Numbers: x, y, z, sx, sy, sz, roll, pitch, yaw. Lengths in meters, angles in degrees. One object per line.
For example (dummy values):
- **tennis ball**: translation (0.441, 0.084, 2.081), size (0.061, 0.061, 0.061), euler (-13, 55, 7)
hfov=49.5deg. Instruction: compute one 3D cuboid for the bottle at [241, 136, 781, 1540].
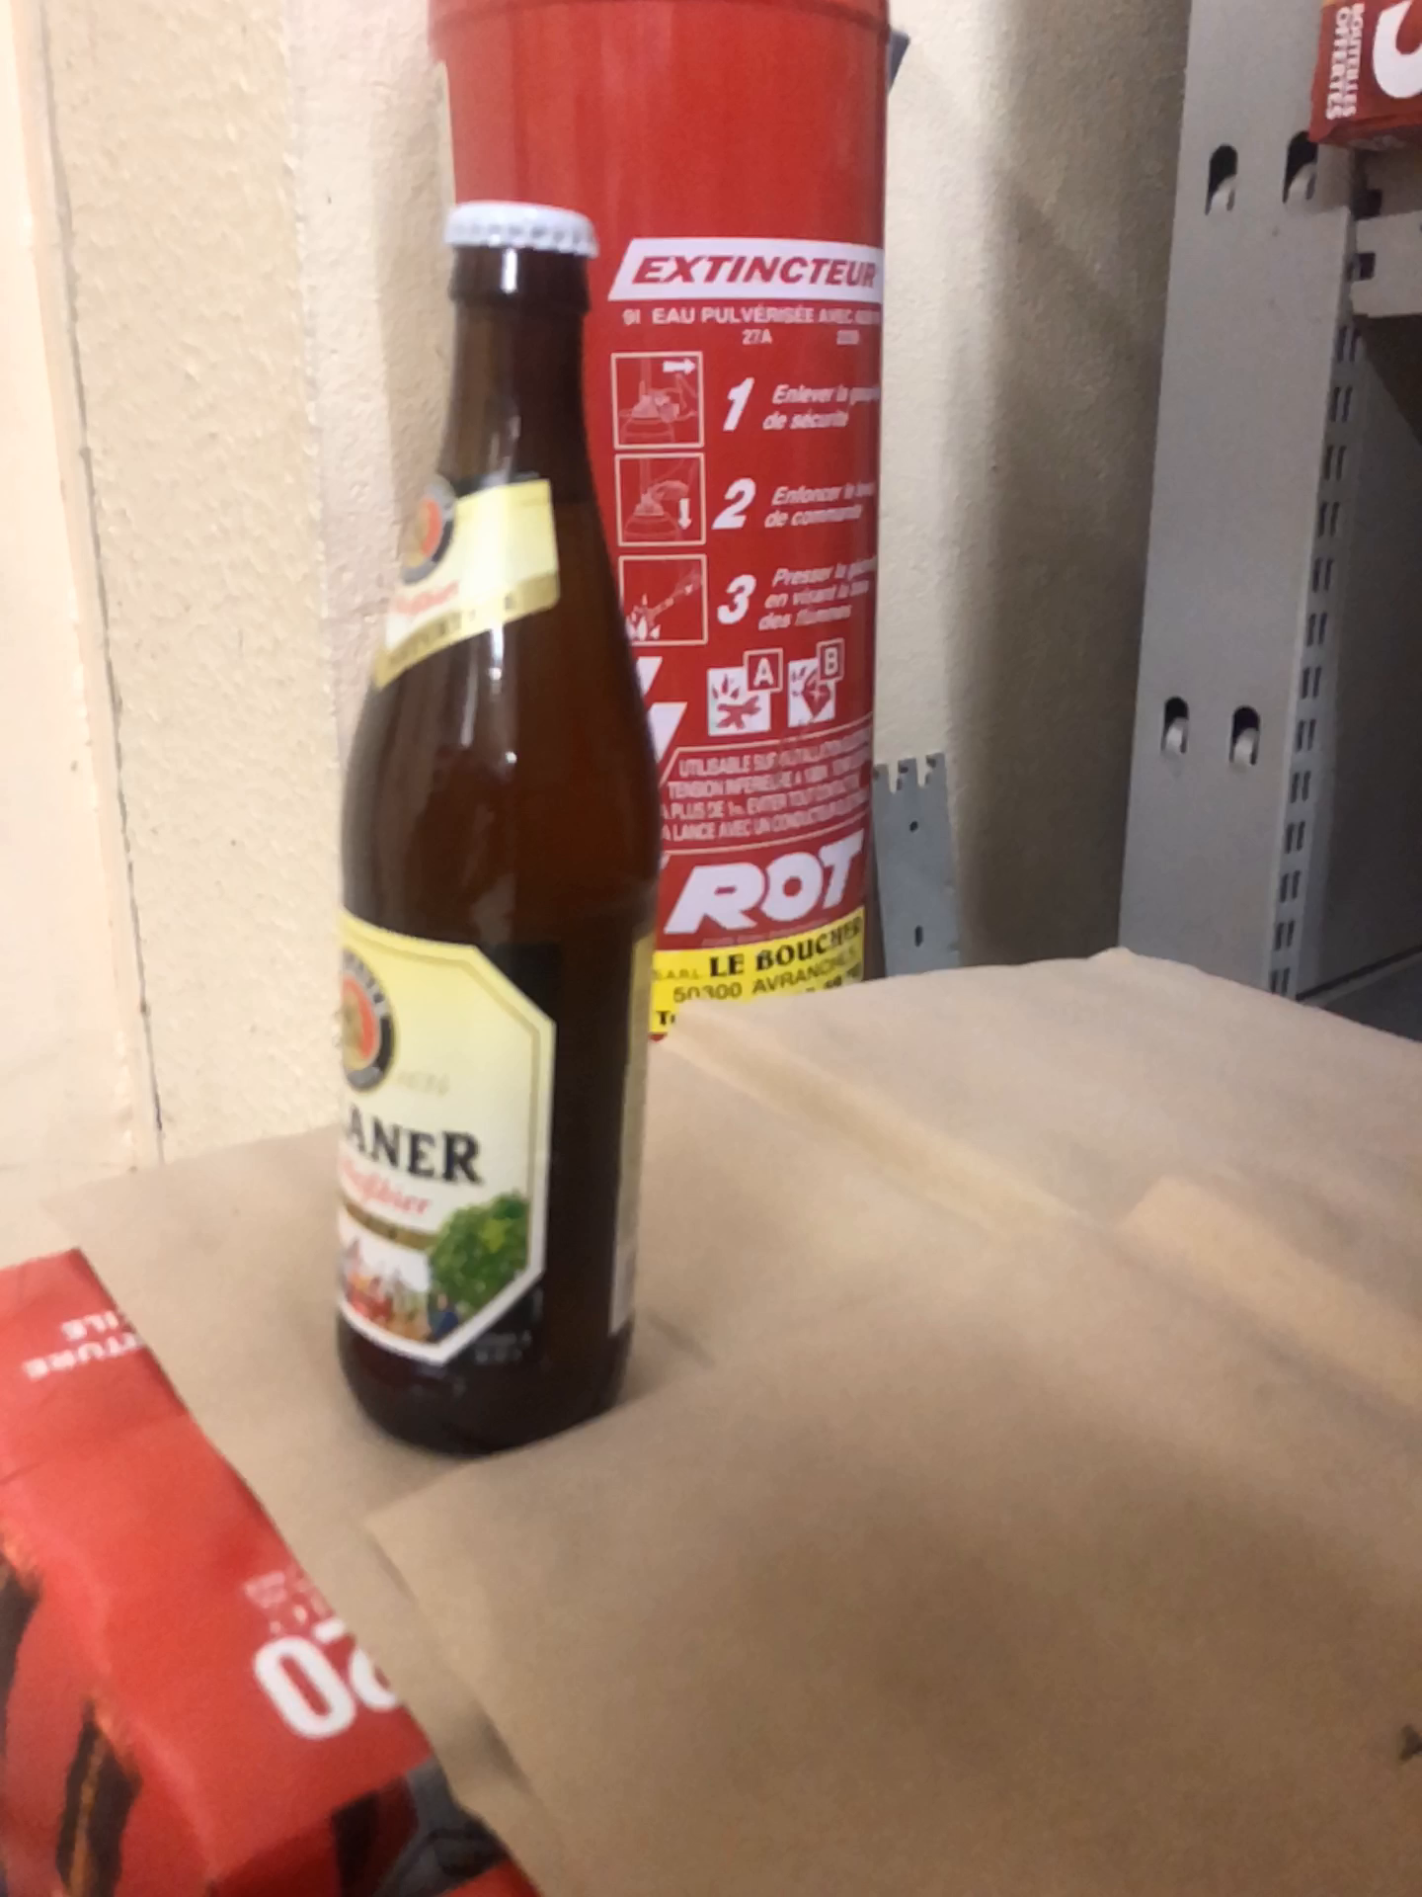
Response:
- **bottle**: translation (-0.041, -0.018, 0.307), size (0.080, 0.239, 0.080), euler (1, 16, 0)
